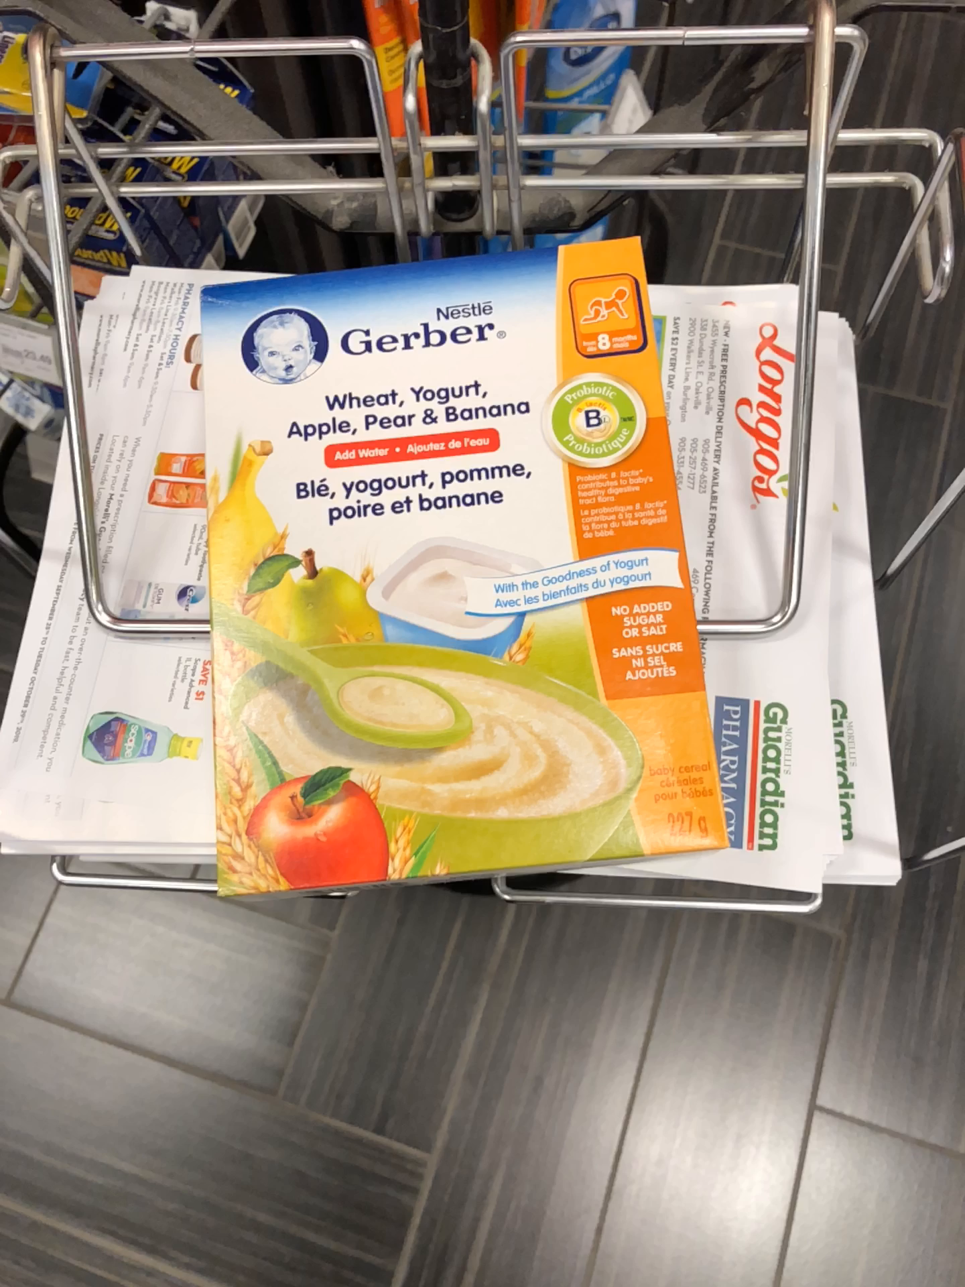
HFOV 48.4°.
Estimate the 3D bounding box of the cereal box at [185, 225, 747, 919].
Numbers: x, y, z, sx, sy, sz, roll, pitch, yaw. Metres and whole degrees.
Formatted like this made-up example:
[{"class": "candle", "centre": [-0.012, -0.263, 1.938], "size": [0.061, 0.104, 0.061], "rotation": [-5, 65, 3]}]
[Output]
[{"class": "cereal box", "centre": [-0.011, -0.023, 0.338], "size": [0.150, 0.050, 0.200], "rotation": [-5, 73, 3]}]
